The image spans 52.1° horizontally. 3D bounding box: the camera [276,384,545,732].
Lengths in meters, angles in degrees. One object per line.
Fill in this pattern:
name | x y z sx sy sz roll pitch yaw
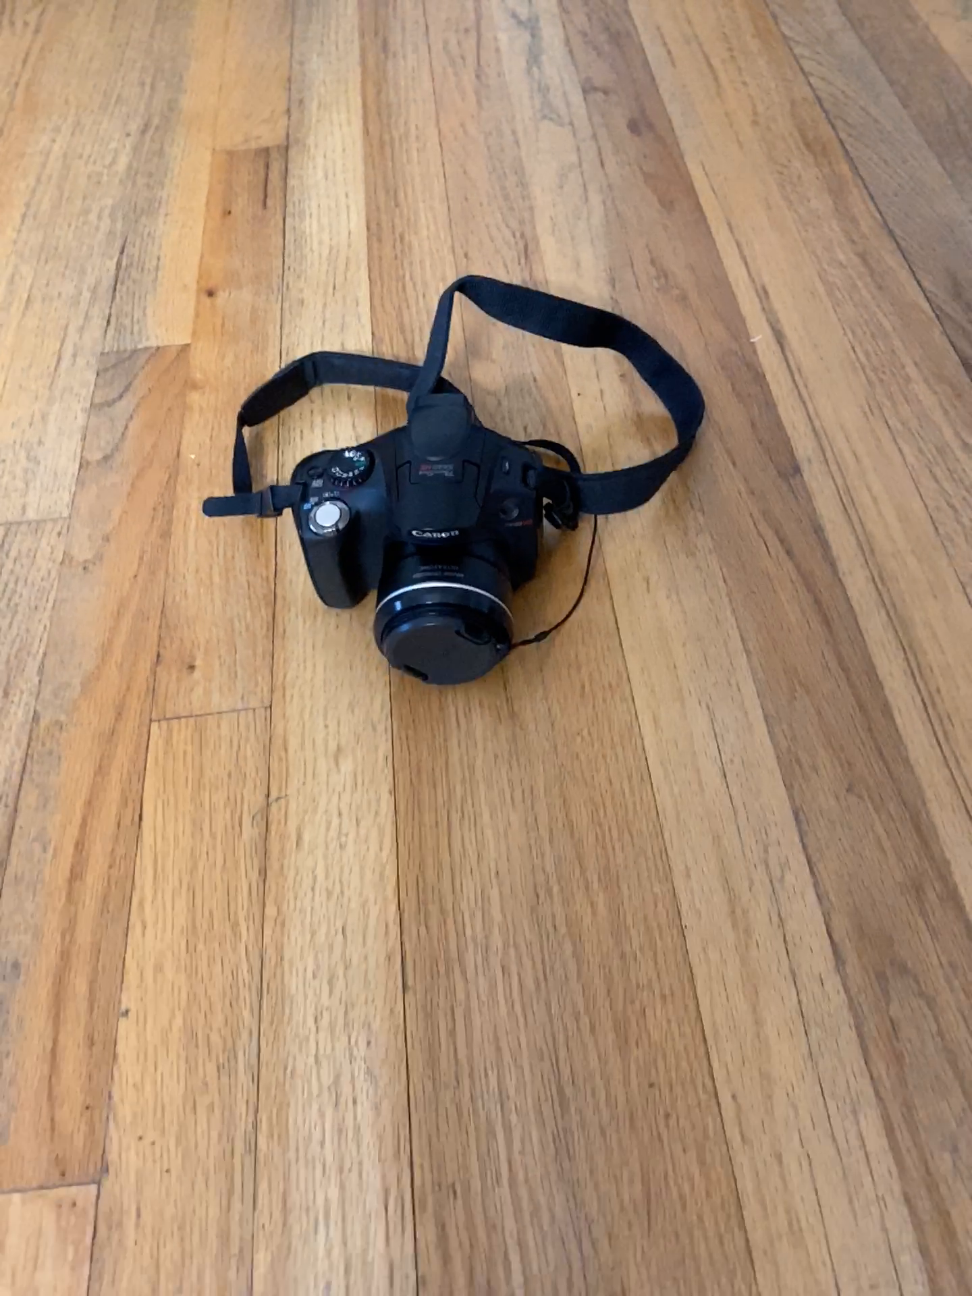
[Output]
camera | -0.031 -0.042 0.487 0.110 0.110 0.120 -4 56 1
